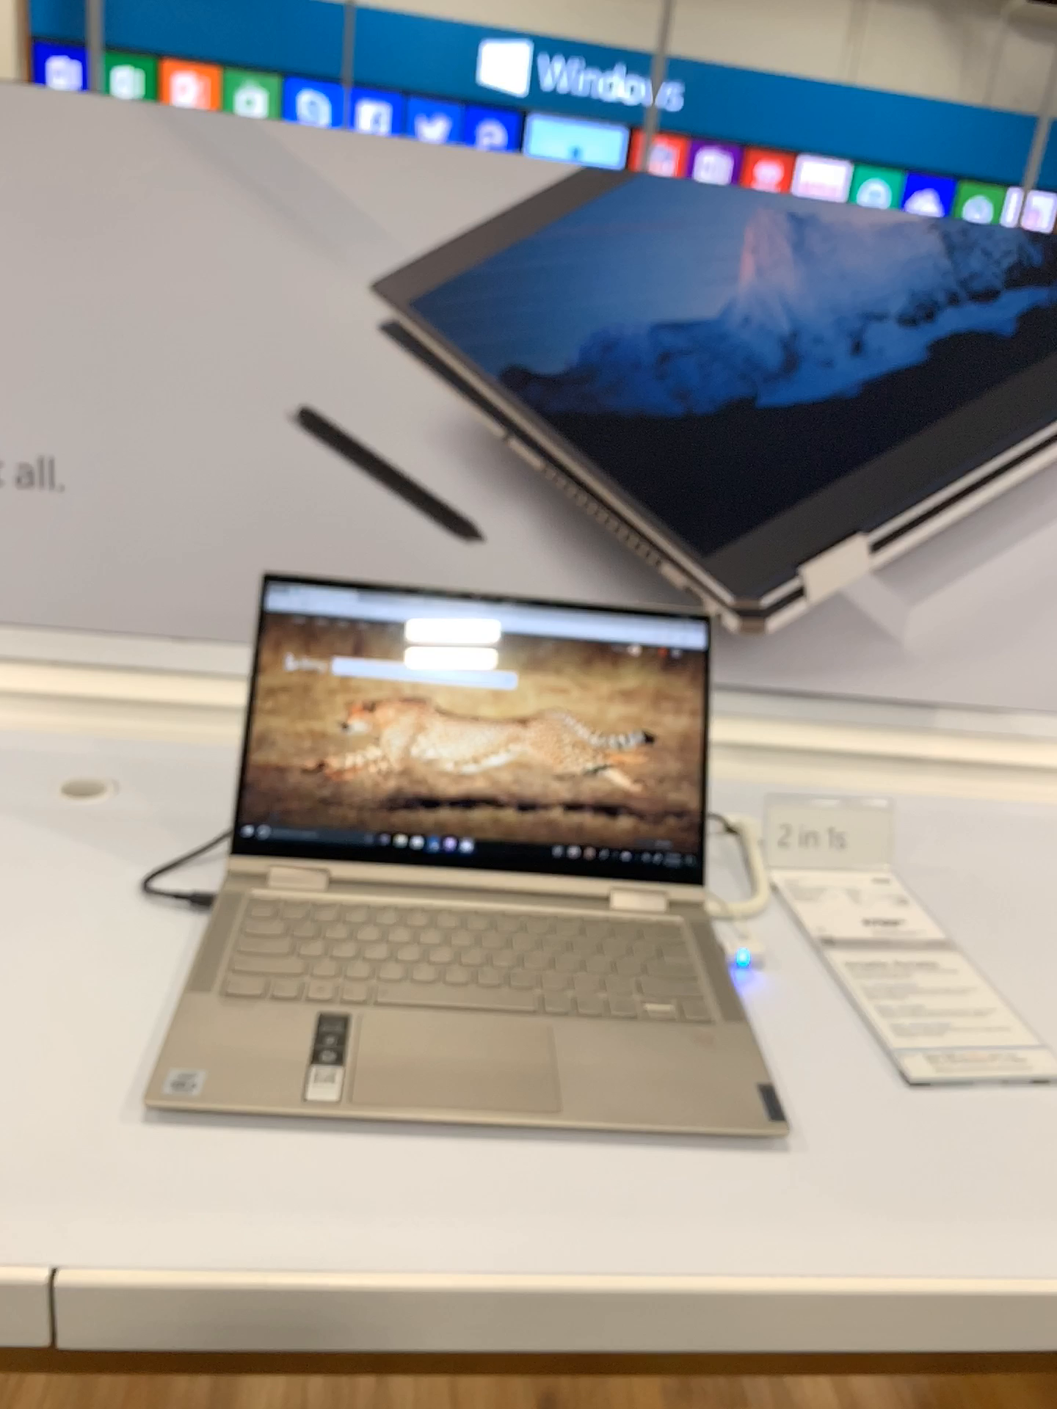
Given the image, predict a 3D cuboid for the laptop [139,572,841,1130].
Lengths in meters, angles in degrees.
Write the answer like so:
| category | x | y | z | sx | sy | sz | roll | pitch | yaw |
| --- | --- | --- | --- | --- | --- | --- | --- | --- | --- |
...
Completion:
| category | x | y | z | sx | sy | sz | roll | pitch | yaw |
| --- | --- | --- | --- | --- | --- | --- | --- | --- | --- |
| laptop | -0.029 | 0.061 | 0.667 | 0.309 | 0.170 | 0.330 | 5 | 22 | -6 |
